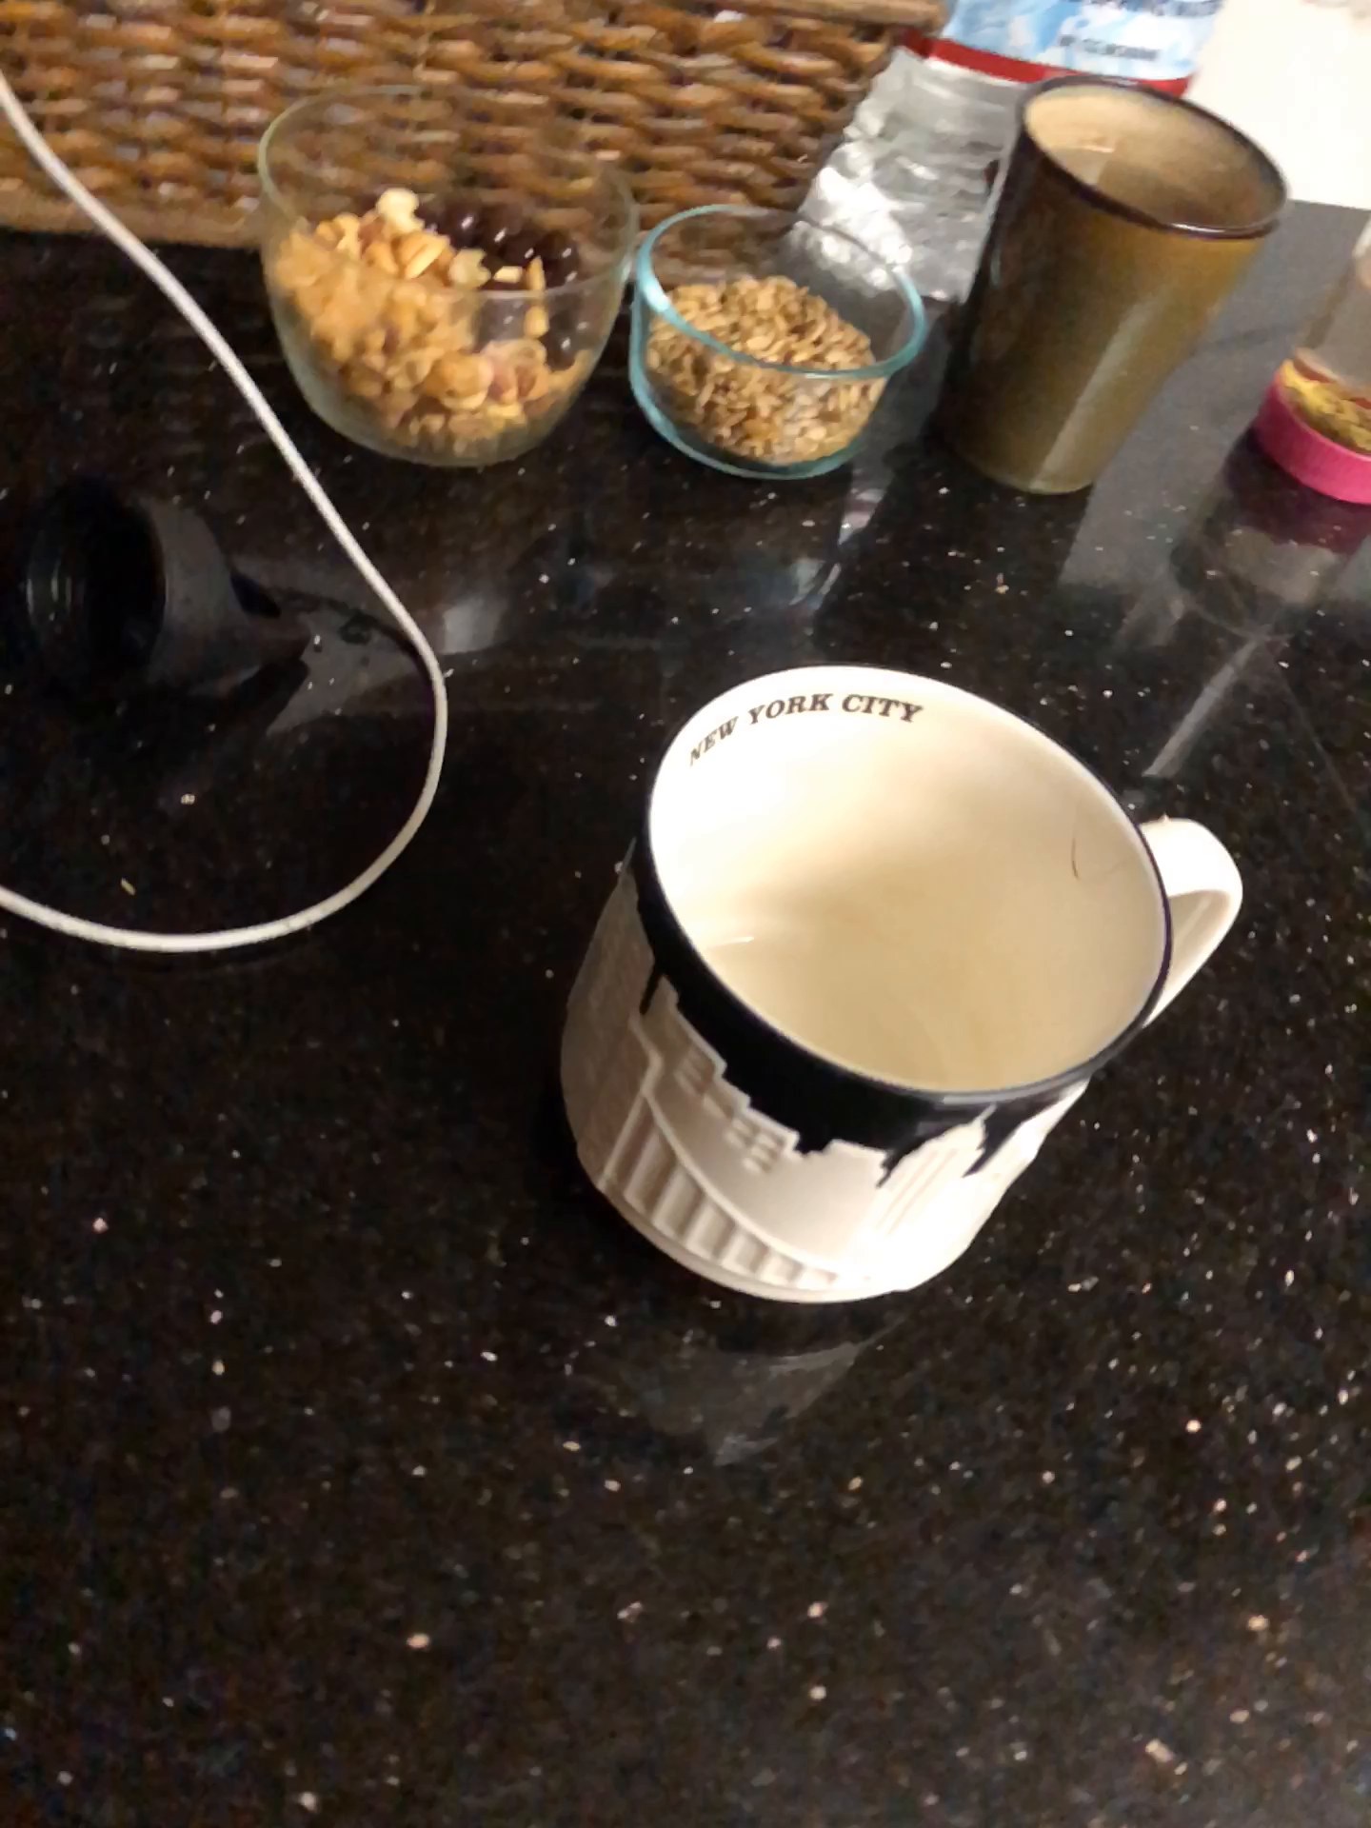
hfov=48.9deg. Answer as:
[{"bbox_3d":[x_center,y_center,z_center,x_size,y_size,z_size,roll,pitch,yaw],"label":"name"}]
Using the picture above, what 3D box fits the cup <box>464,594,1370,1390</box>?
[{"bbox_3d":[0.047,0.010,0.326,0.150,0.090,0.110,-13,58,-25],"label":"cup"}]
